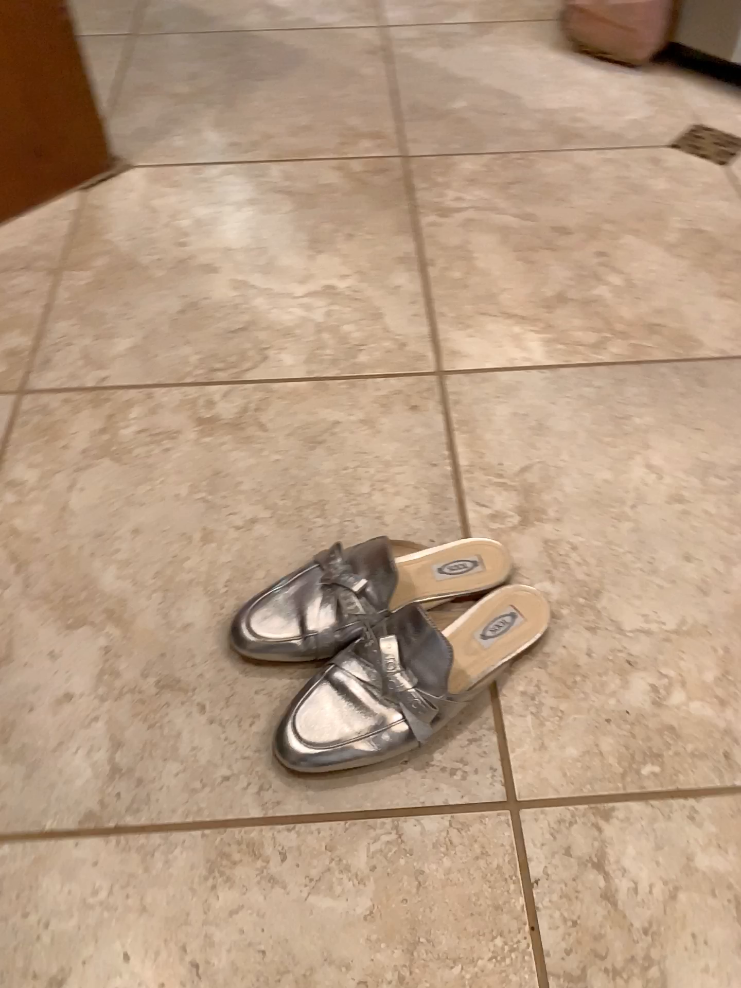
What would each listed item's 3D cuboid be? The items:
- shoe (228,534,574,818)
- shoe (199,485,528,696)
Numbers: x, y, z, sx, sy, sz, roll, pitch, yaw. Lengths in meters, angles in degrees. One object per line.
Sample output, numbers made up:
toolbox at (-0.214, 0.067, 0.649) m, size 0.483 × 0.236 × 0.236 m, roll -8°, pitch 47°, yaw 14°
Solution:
shoe at (0.030, 0.150, 0.653) m, size 0.280 × 0.077 × 0.092 m, roll -26°, pitch 56°, yaw -18°
shoe at (-0.007, 0.087, 0.709) m, size 0.277 × 0.077 × 0.102 m, roll -14°, pitch 53°, yaw -10°
